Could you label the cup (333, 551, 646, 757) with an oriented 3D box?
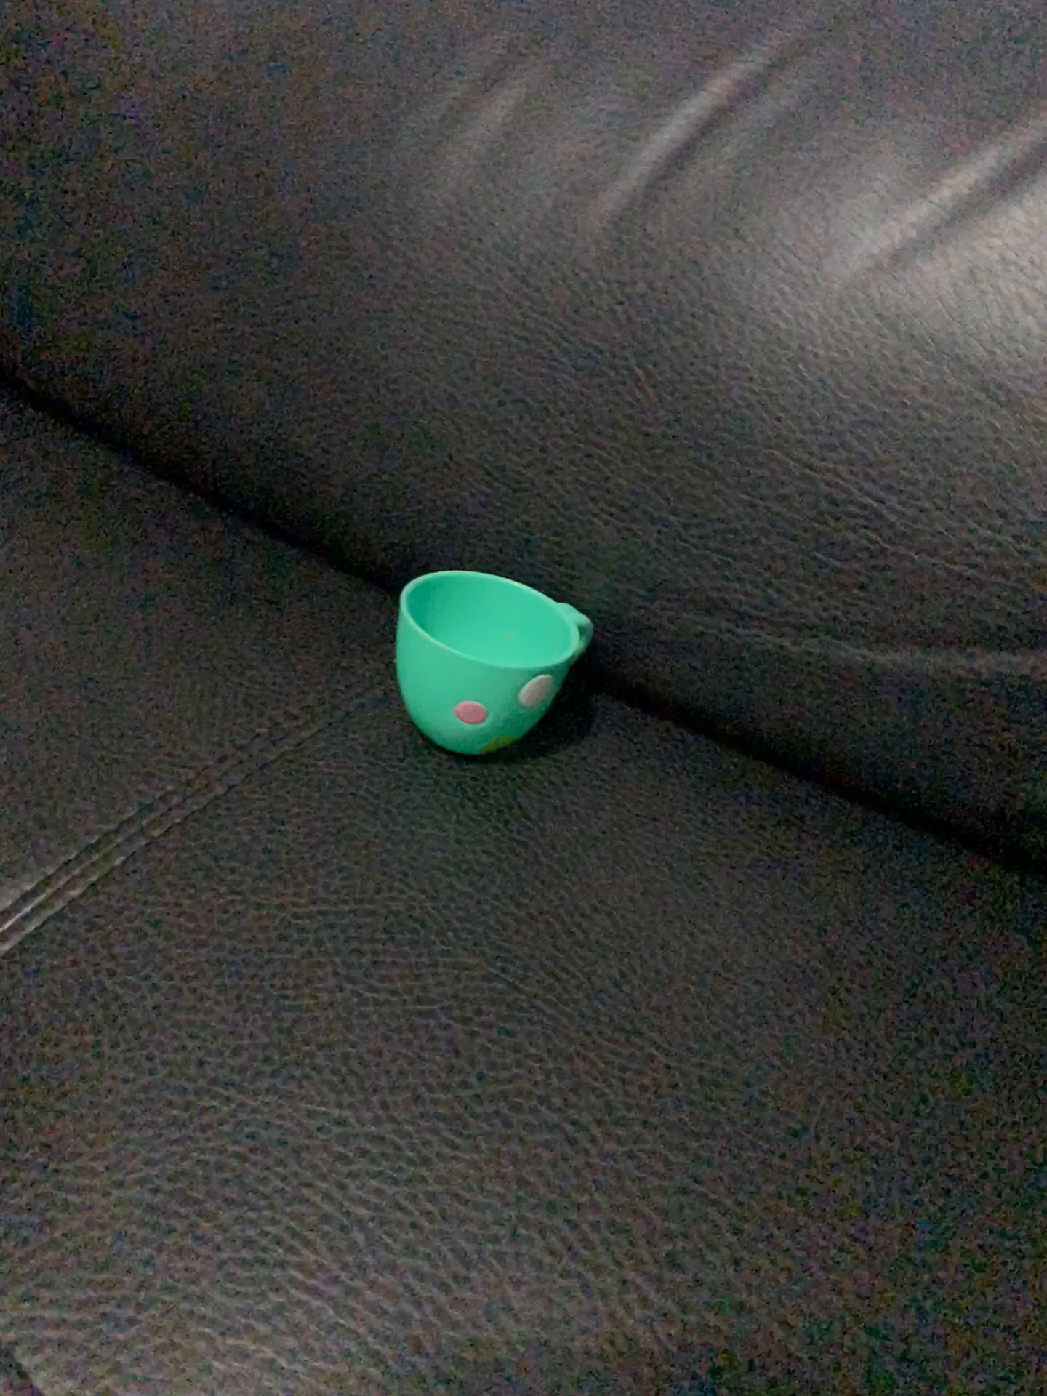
[{"bbox_3d":[-0.010,-0.014,0.300,0.063,0.030,0.054,-3,34,-37],"label":"cup"}]
